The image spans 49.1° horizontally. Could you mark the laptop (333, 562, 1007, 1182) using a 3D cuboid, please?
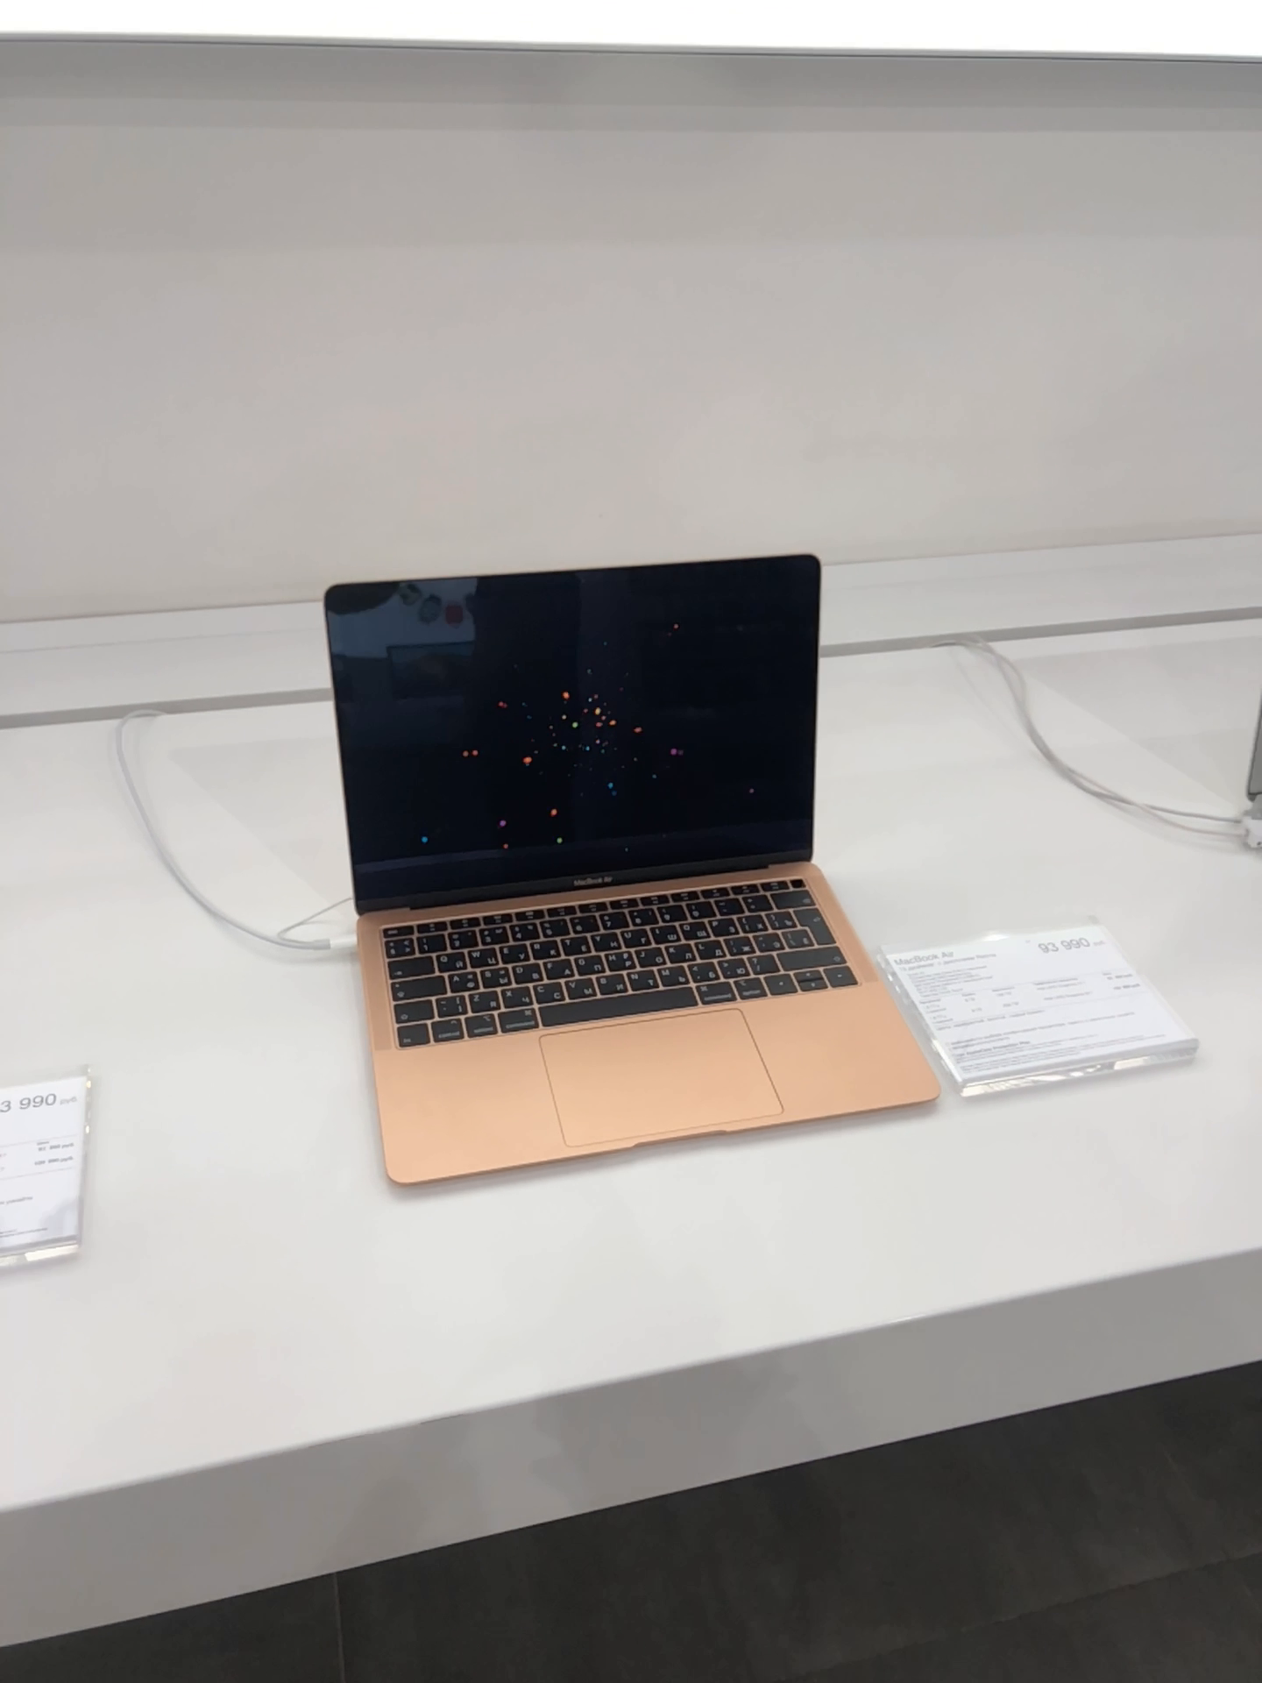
[{"bbox_3d":[0.000,-0.001,0.772,0.297,0.188,0.265,-6,37,-12],"label":"laptop"}]

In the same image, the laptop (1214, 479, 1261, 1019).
[{"bbox_3d":[0.652,-0.082,0.928,0.363,0.209,0.284,-6,37,-14],"label":"laptop"}]
